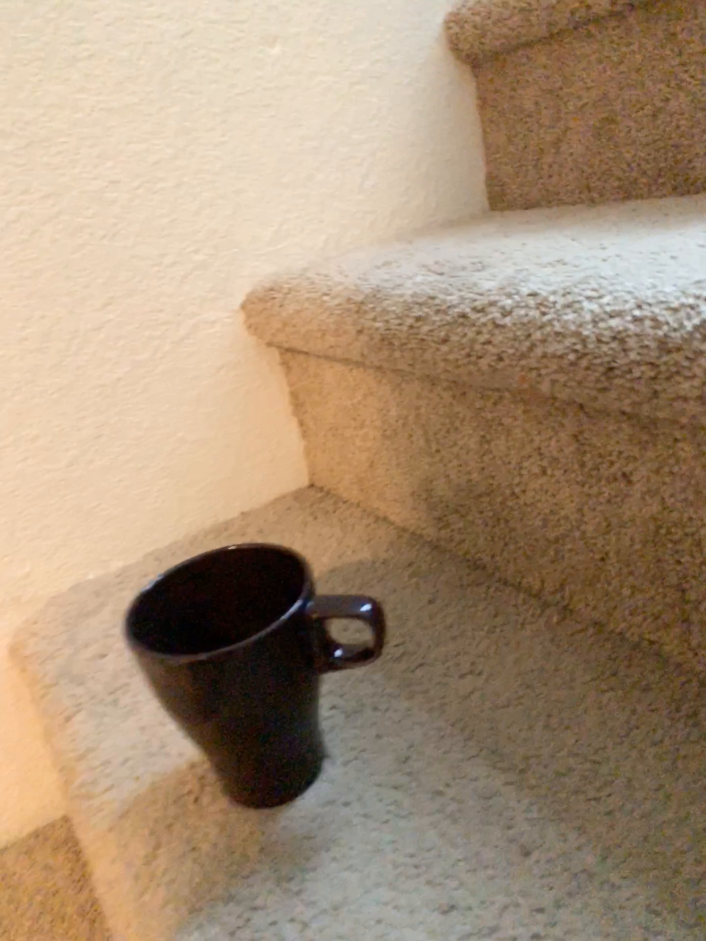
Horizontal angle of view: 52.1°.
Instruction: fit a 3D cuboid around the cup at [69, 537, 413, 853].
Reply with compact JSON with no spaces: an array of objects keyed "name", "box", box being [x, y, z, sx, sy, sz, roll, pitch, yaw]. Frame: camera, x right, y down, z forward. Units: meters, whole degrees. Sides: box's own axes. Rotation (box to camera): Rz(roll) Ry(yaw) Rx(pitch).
[{"name":"cup","box":[-0.043,0.094,0.327,0.110,0.099,0.080,-3,22,20]}]
